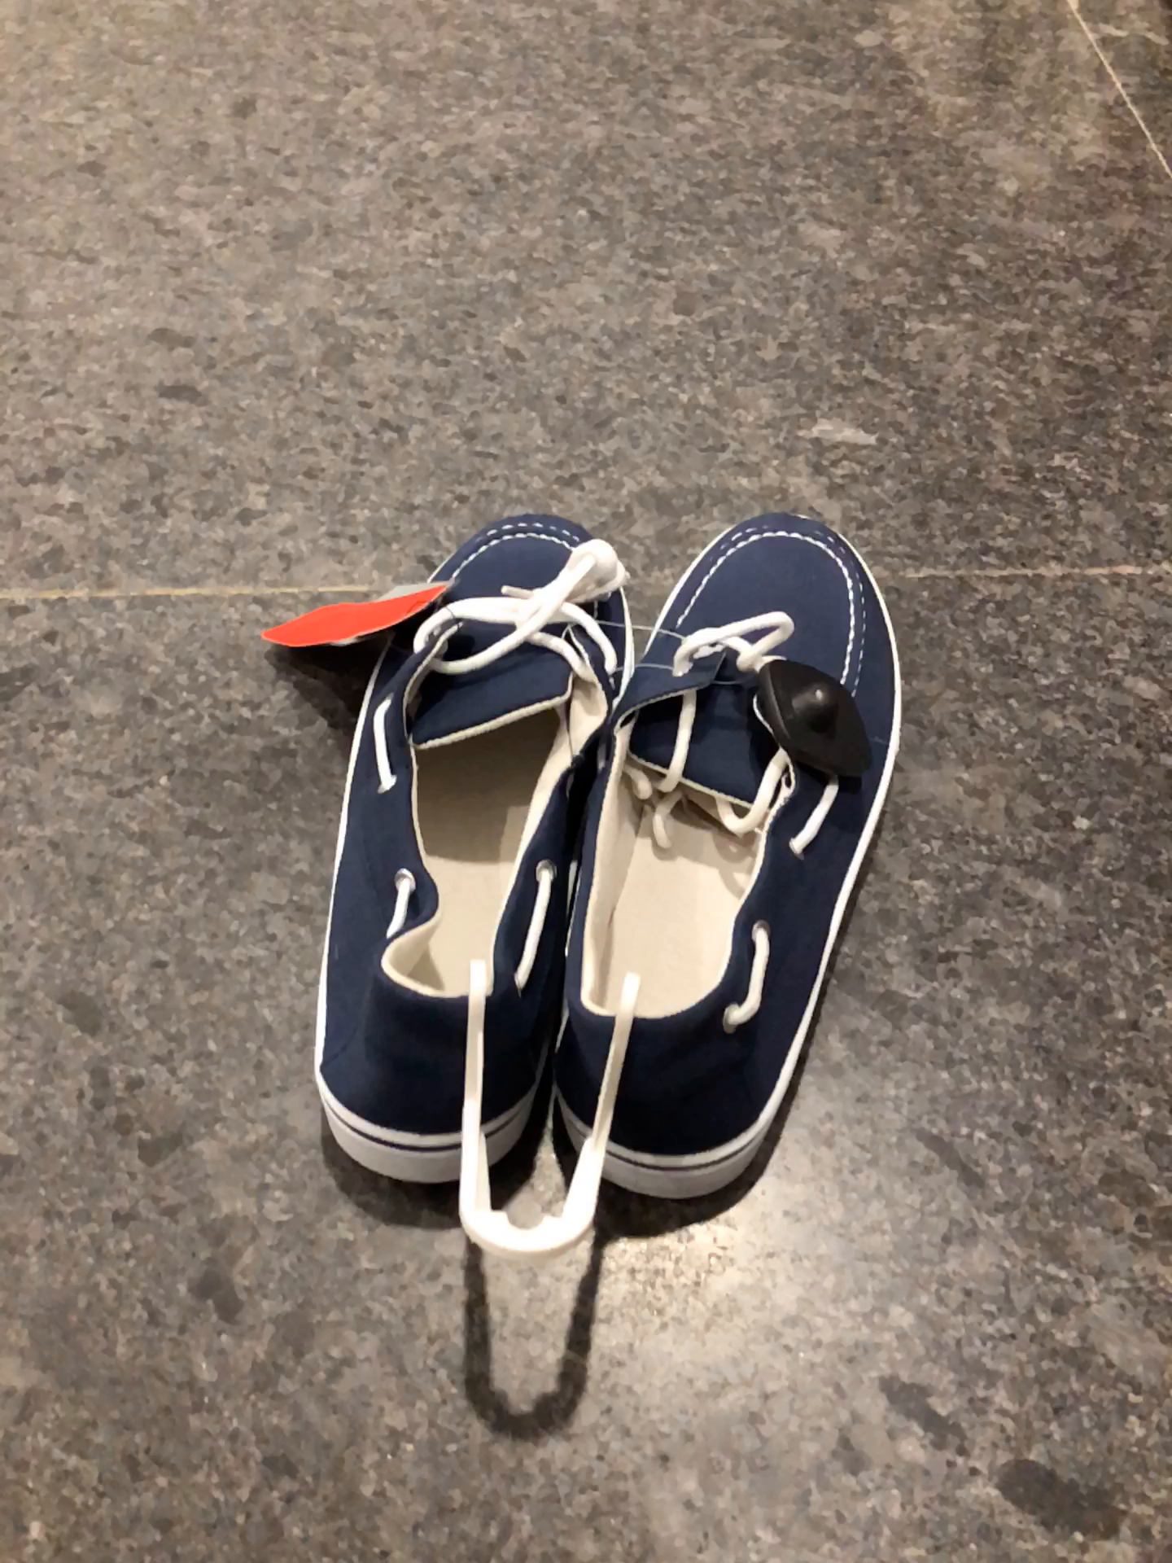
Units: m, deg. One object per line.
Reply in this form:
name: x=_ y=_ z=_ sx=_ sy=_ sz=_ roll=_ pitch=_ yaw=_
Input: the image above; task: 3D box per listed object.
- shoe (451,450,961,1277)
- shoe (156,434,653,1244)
shoe: x=0.049 y=0.016 z=0.444 sx=0.096 sy=0.115 sz=0.248 roll=15 pitch=53 yaw=11
shoe: x=-0.043 y=0.009 z=0.446 sx=0.096 sy=0.115 sz=0.249 roll=8 pitch=52 yaw=5
